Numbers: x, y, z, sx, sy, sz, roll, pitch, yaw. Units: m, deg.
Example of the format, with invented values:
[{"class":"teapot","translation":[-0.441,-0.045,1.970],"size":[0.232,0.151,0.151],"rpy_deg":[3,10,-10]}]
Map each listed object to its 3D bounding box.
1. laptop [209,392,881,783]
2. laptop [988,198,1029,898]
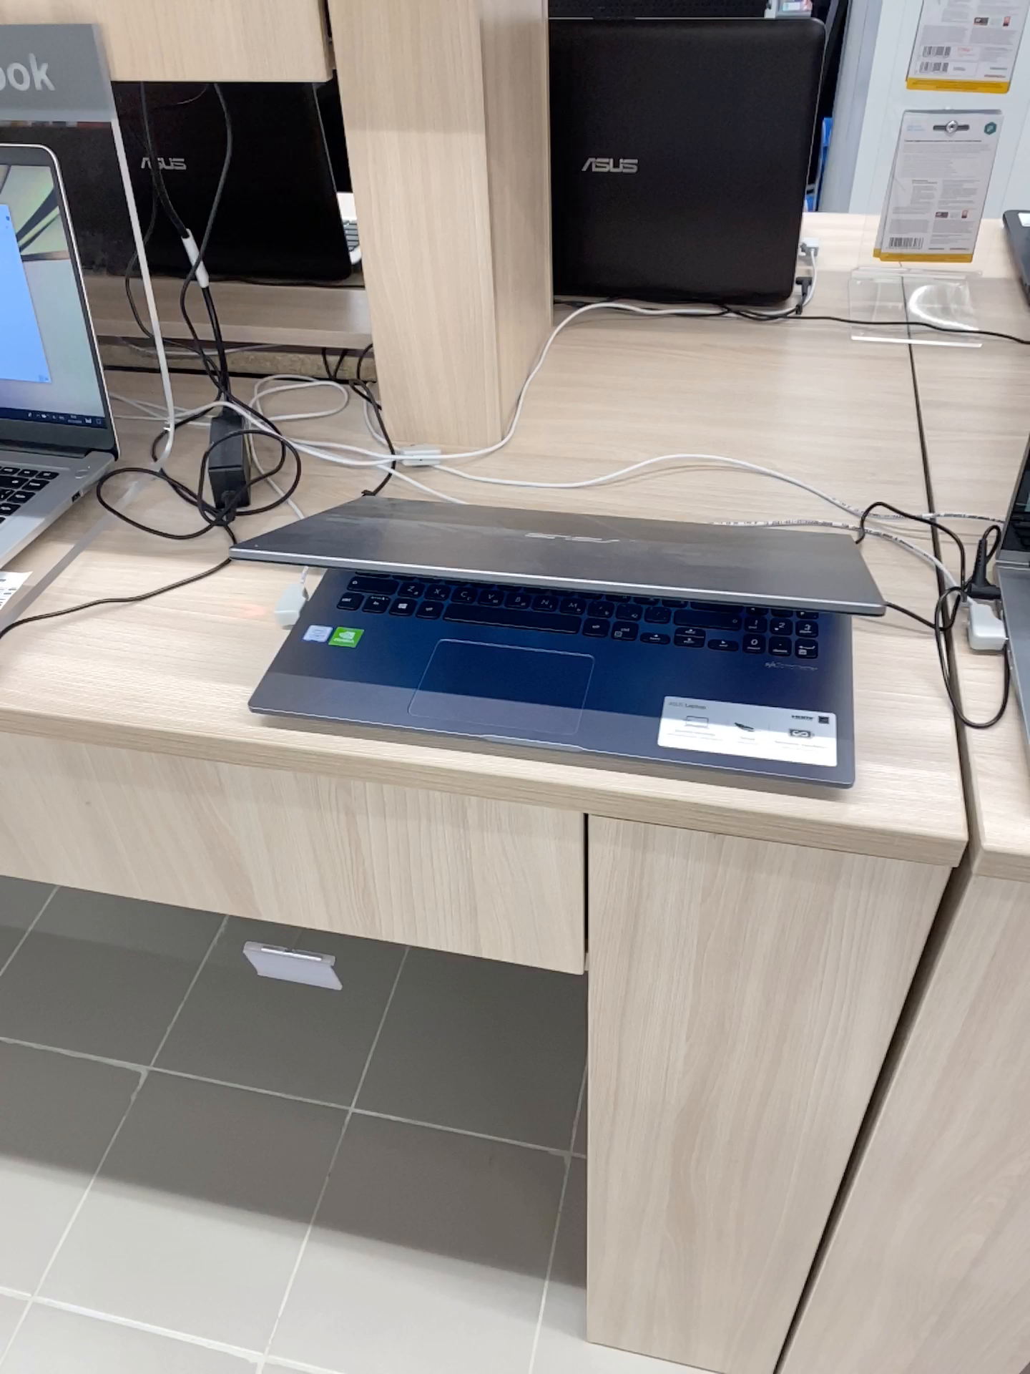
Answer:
[{"class":"laptop","translation":[0.033,-0.079,0.657],"size":[0.354,0.097,0.230],"rpy_deg":[7,41,11]},{"class":"laptop","translation":[0.476,-0.090,0.546],"size":[0.351,0.222,0.259],"rpy_deg":[6,42,10]}]
